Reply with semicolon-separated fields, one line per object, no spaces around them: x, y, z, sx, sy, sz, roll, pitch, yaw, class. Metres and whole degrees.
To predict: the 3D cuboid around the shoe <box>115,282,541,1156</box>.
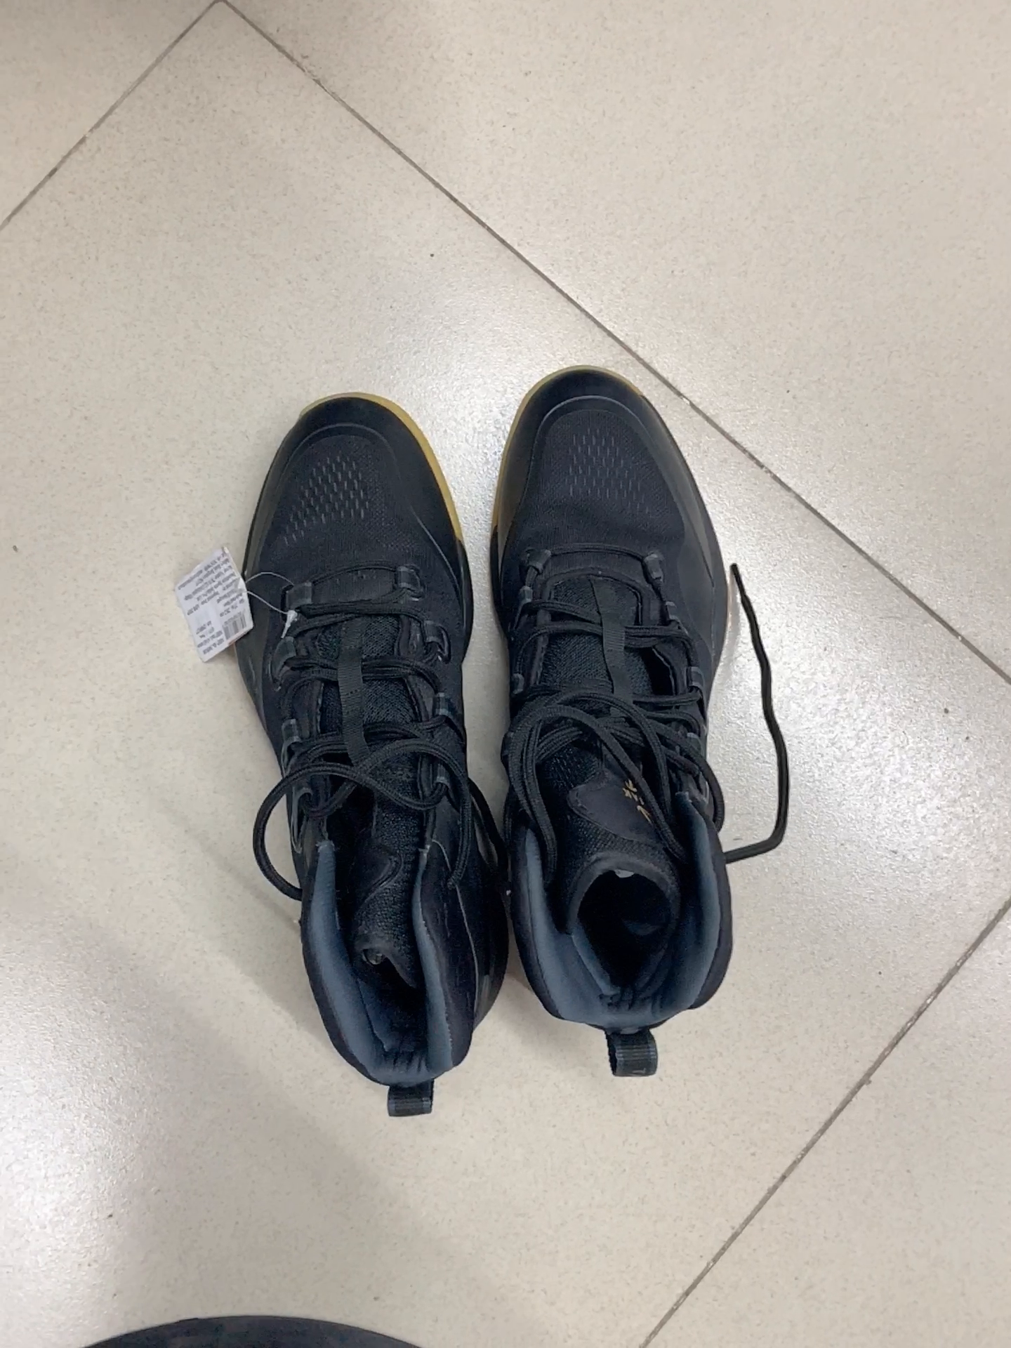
-0.063;0.016;0.428;0.110;0.140;0.290;-8;87;-1;shoe

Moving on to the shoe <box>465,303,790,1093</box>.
0.044;0.008;0.429;0.110;0.090;0.290;-2;87;0;shoe
